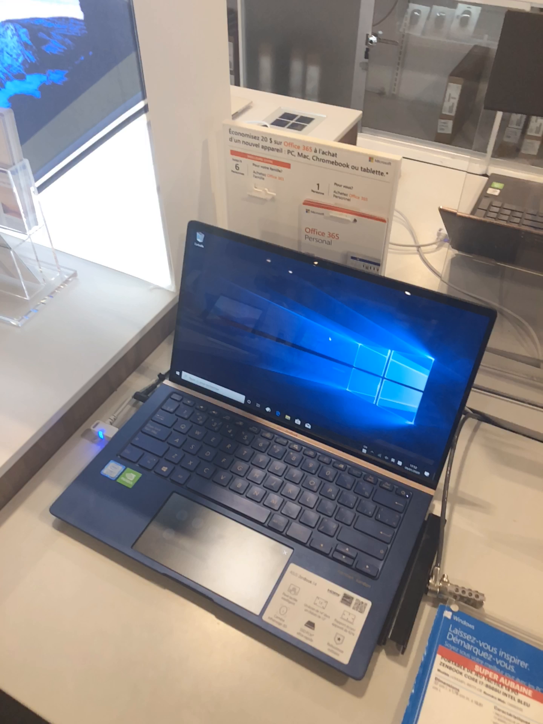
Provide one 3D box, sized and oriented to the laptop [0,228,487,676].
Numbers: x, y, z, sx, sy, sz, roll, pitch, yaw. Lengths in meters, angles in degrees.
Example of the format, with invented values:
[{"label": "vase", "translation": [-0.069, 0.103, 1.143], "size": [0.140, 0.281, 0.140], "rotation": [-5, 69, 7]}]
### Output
[{"label": "laptop", "translation": [-0.013, 0.052, 0.531], "size": [0.309, 0.179, 0.253], "rotation": [20, 45, 19]}]
